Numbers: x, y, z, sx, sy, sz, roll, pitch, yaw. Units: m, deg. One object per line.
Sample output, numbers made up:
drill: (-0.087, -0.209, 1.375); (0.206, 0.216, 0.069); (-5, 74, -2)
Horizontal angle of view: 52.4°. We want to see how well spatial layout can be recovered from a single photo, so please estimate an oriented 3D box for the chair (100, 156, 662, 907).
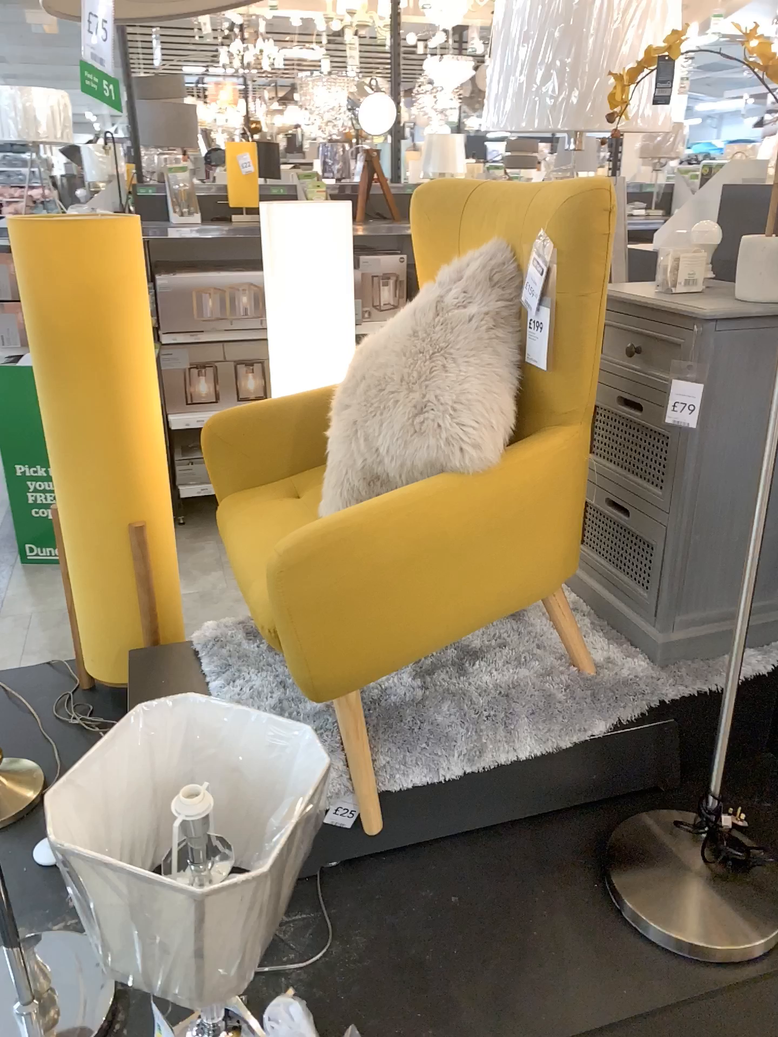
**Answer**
chair: (-0.002, -0.029, 1.423); (0.711, 1.021, 0.595); (-16, 26, -14)
